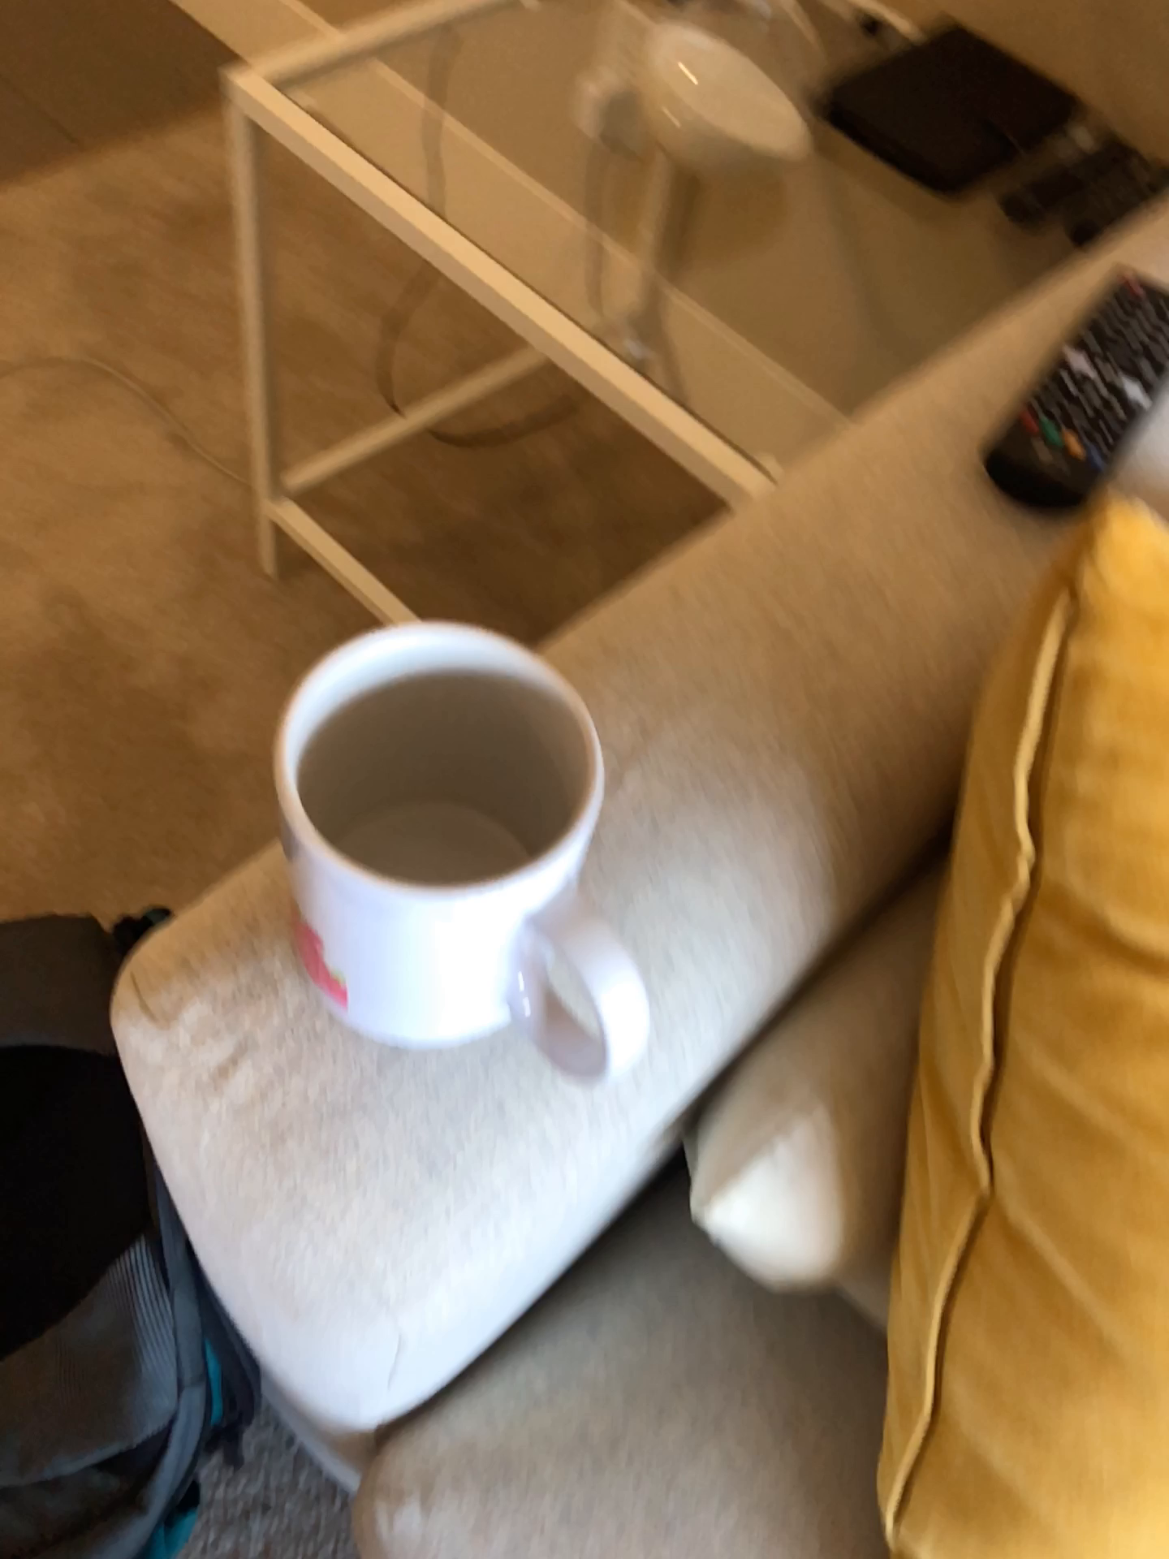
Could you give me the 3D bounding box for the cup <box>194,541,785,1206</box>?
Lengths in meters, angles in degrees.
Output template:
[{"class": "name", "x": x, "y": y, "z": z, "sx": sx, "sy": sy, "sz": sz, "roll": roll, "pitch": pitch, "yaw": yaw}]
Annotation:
[{"class": "cup", "x": -0.030, "y": 0.025, "z": 0.342, "sx": 0.080, "sy": 0.100, "sz": 0.120, "roll": -32, "pitch": 68, "yaw": -27}]
